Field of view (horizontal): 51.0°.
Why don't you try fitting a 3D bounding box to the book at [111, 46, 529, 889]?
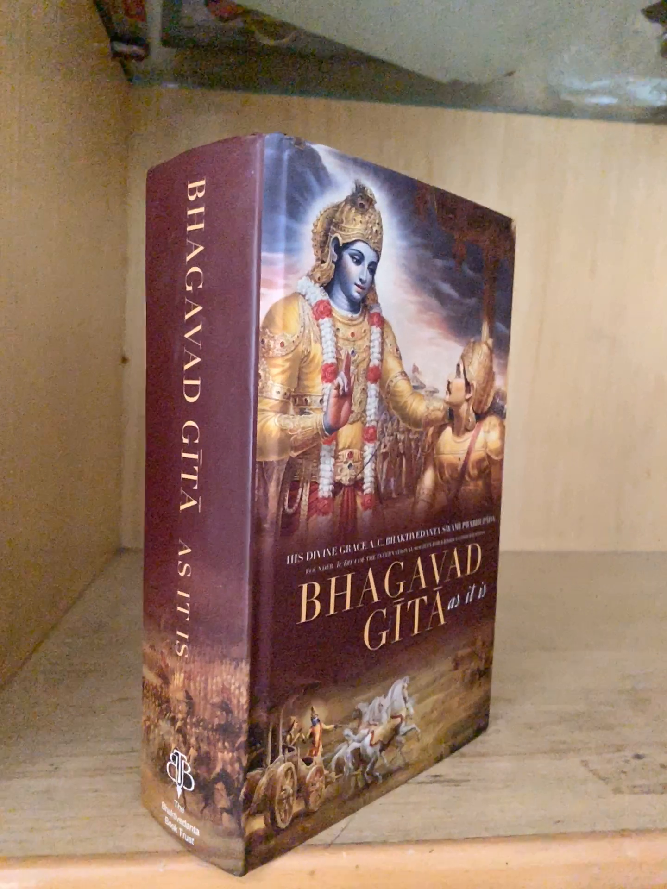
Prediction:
[{"bbox_3d":[0.002,0.006,0.254,0.070,0.220,0.140,3,3,44],"label":"book"}]
